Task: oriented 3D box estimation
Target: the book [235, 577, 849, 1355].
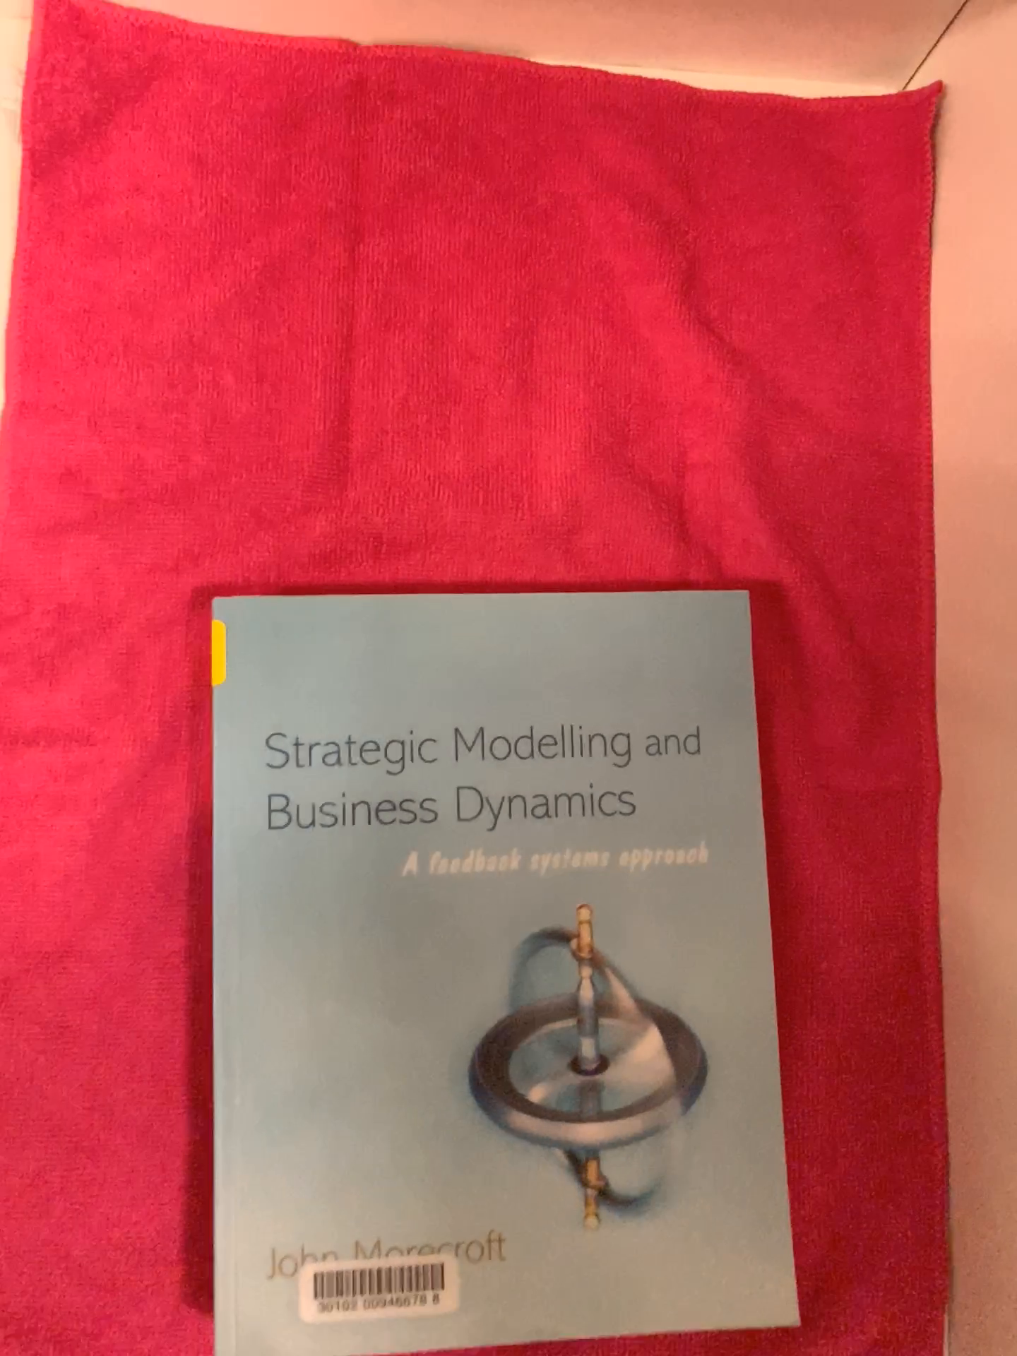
[{"bbox_3d":[0.012,0.093,0.355,0.193,0.033,0.250,1,83,-5],"label":"book"}]
